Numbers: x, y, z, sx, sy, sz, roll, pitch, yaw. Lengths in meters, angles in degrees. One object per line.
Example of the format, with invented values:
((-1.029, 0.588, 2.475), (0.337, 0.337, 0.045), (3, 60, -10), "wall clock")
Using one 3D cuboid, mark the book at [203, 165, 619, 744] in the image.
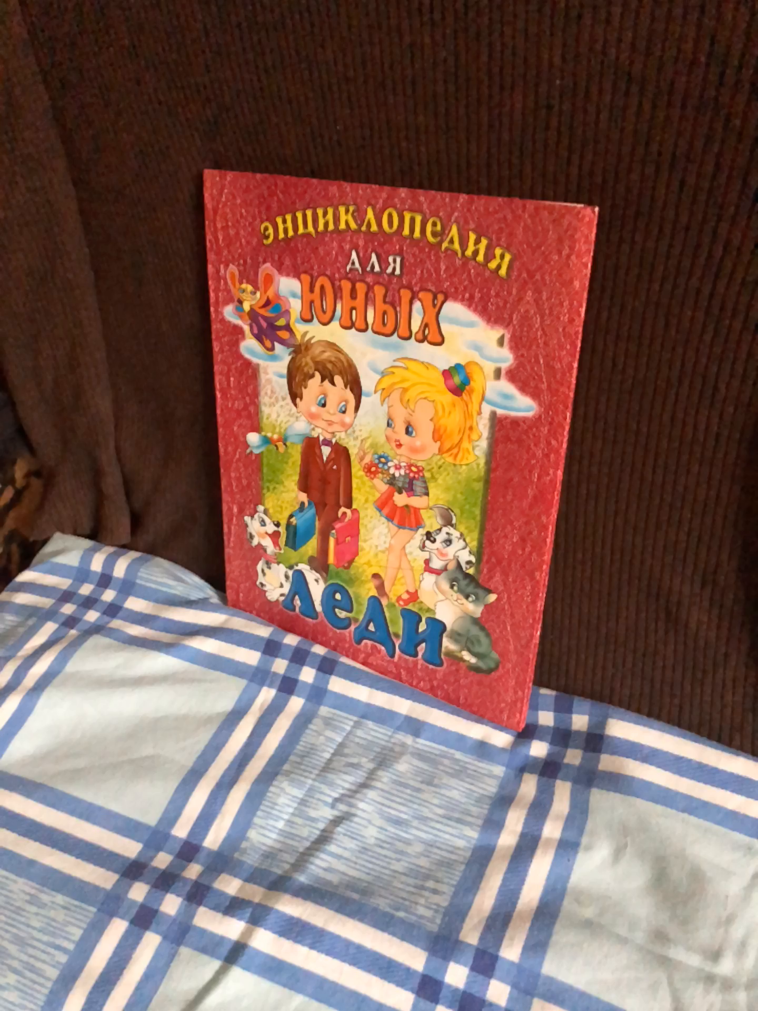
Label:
((-0.002, -0.028, 0.491), (0.230, 0.303, 0.020), (16, 28, 26), "book")
